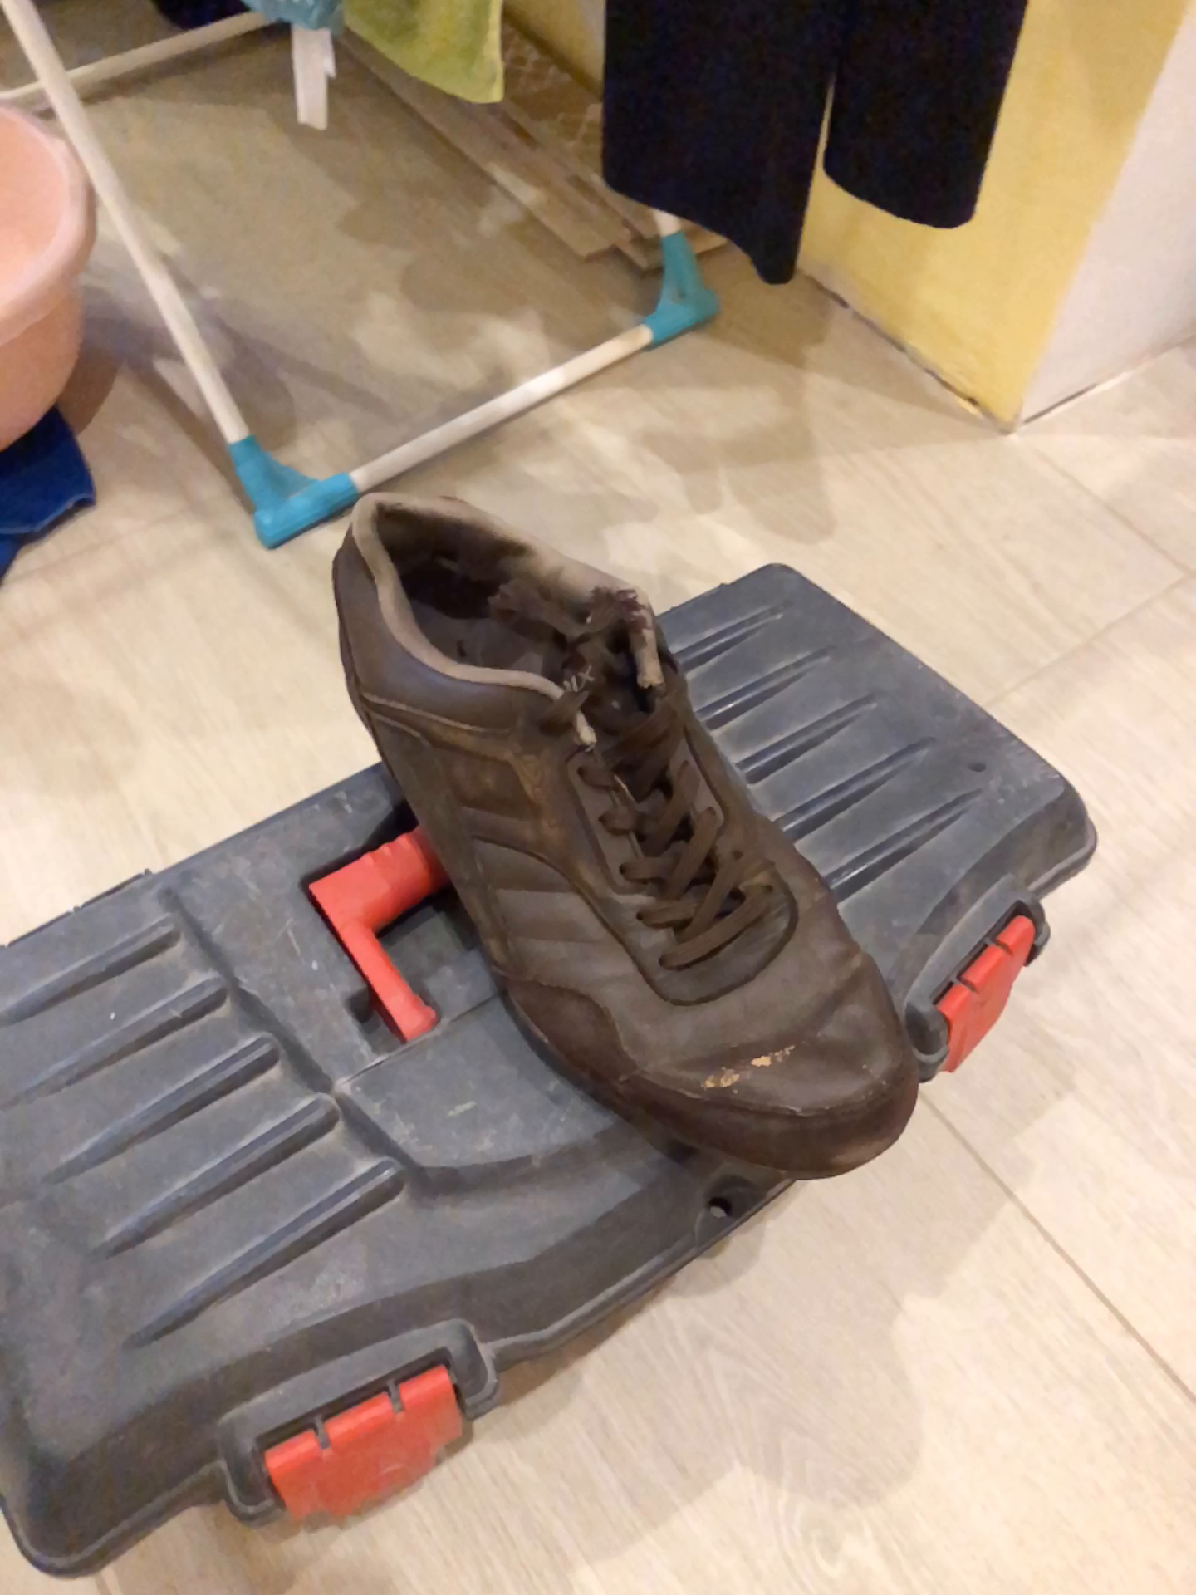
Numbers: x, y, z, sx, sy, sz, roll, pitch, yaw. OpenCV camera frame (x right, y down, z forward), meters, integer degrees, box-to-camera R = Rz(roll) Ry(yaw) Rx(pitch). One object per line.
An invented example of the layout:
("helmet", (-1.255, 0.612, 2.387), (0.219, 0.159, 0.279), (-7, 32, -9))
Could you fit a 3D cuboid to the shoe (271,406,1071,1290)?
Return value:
("shoe", (0.007, 0.003, 0.453), (0.110, 0.099, 0.281), (-27, 61, -21))
